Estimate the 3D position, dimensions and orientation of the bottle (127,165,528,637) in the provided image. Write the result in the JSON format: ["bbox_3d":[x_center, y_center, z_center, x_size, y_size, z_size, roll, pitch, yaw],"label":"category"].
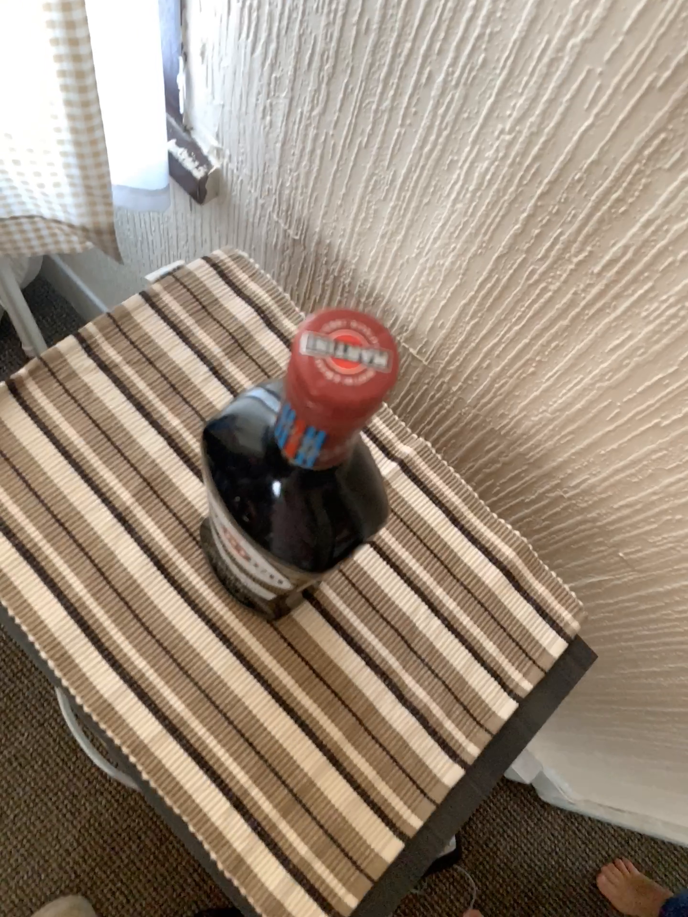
[{"bbox_3d":[-0.031,0.015,0.318,0.060,0.299,0.090,-38,83,-20],"label":"bottle"}]
